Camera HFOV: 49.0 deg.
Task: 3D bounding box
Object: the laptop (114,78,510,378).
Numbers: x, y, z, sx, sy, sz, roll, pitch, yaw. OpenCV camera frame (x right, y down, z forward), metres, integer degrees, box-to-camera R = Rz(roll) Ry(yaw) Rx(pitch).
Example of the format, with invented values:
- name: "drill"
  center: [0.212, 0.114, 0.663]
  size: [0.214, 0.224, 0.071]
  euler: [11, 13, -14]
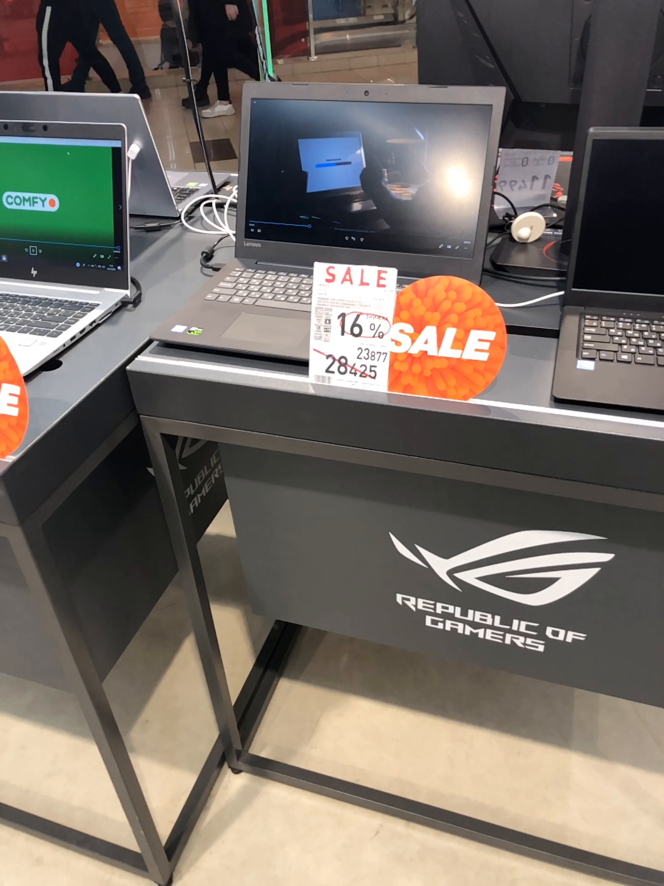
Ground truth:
- name: "laptop"
  center: [-0.001, -0.303, 0.947]
  size: [0.382, 0.235, 0.336]
  euler: [10, 40, 18]
